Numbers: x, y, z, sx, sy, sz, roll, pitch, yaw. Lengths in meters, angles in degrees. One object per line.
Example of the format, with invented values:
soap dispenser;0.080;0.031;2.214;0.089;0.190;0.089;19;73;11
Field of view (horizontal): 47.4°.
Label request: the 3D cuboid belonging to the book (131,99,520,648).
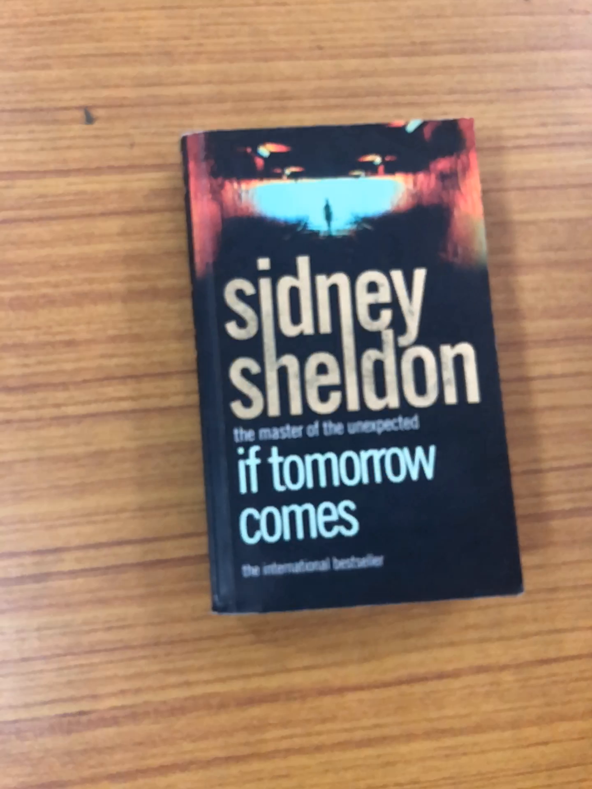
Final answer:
book;0.008;-0.011;0.241;0.114;0.034;0.176;-5;85;-5
